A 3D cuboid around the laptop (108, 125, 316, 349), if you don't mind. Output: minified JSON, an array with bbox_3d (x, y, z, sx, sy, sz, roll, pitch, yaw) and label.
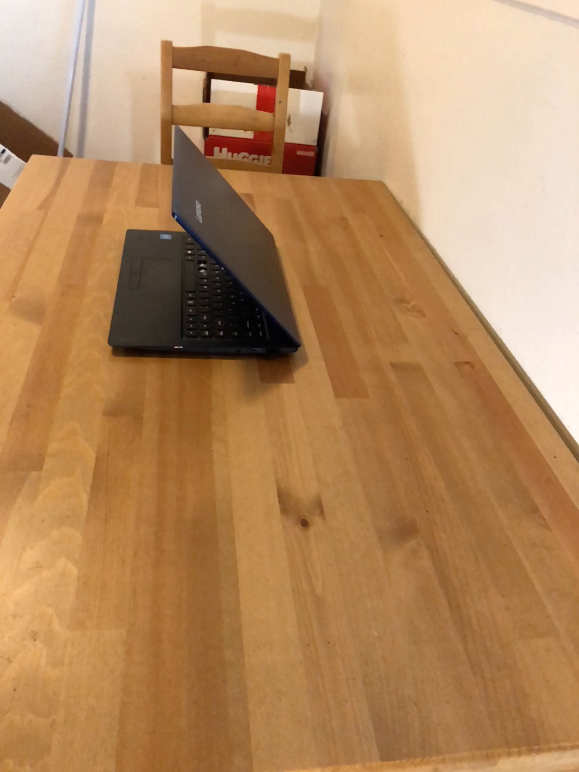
[{"bbox_3d":[-0.106,-0.207,0.838,0.215,0.161,0.319,0,38,-9],"label":"laptop"}]
